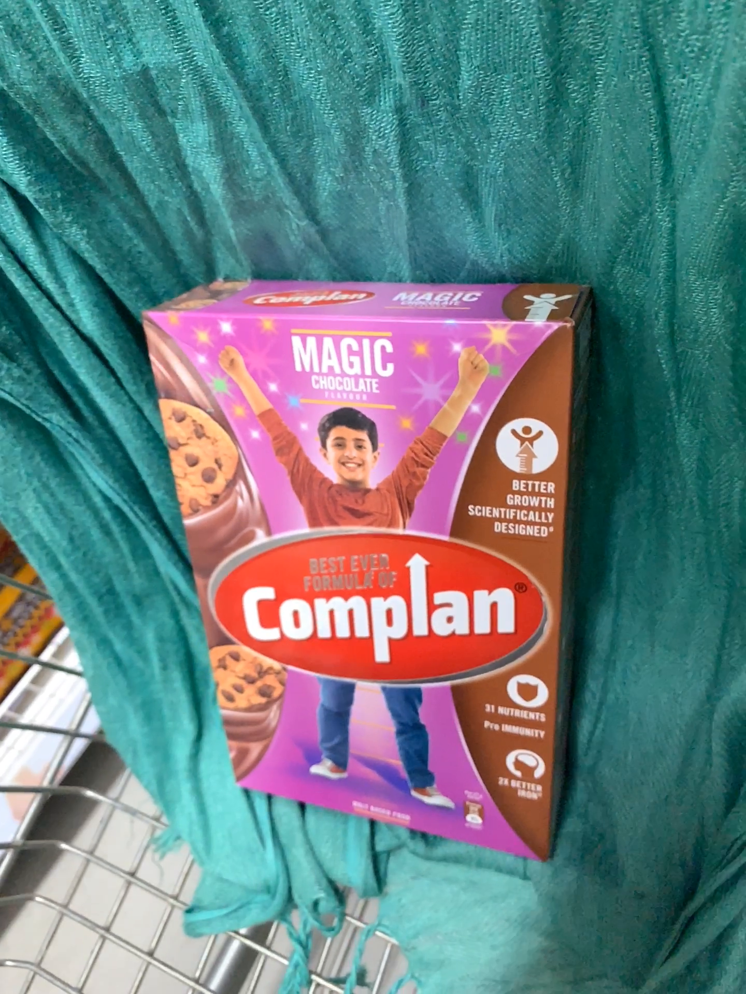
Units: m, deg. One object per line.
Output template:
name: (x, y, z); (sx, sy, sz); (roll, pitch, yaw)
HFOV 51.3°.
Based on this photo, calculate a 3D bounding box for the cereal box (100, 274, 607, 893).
cereal box: (-0.002, 0.032, 0.299); (0.160, 0.220, 0.050); (6, 25, 21)
